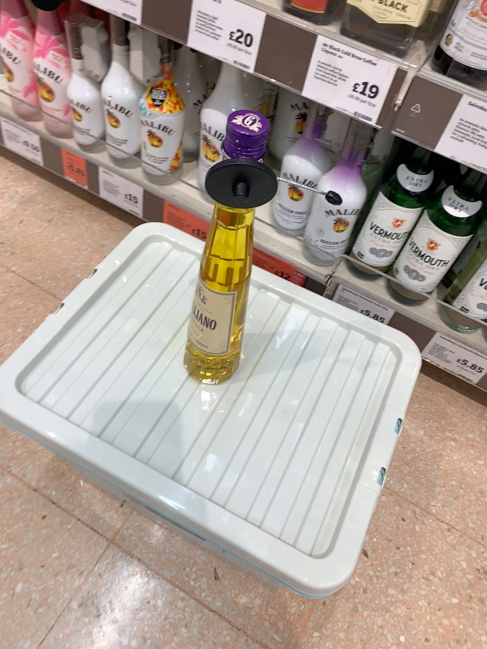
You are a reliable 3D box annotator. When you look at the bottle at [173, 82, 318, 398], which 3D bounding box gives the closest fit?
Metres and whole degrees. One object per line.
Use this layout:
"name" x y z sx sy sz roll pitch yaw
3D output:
"bottle" -0.018 -0.050 0.500 0.070 0.347 0.073 4 55 -6
